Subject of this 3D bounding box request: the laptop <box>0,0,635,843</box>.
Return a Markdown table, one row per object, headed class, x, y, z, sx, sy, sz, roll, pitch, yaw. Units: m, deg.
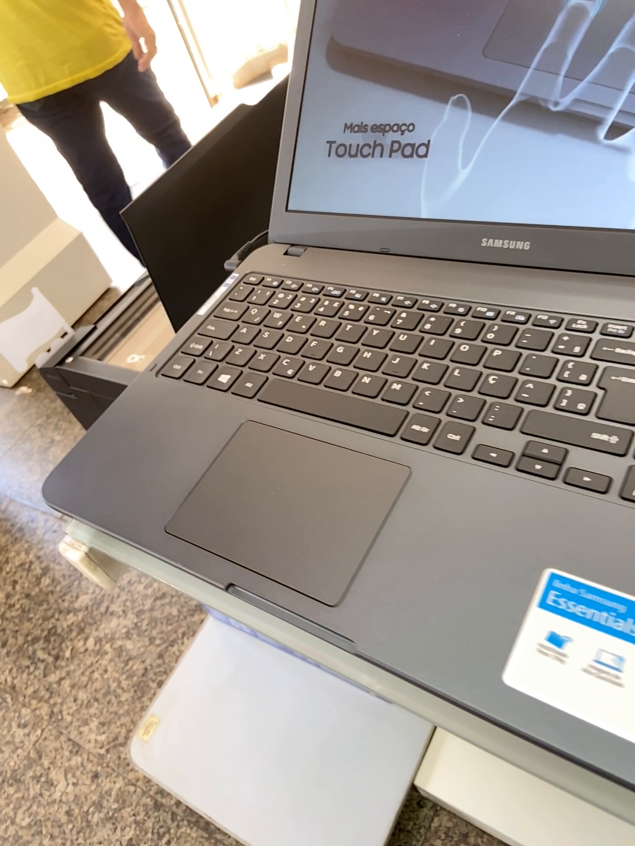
| class | x | y | z | sx | sy | sz | roll | pitch | yaw |
| --- | --- | --- | --- | --- | --- | --- | --- | --- | --- |
| laptop | 0.069 | -0.123 | 0.323 | 0.368 | 0.157 | 0.412 | 14 | 56 | 33 |
